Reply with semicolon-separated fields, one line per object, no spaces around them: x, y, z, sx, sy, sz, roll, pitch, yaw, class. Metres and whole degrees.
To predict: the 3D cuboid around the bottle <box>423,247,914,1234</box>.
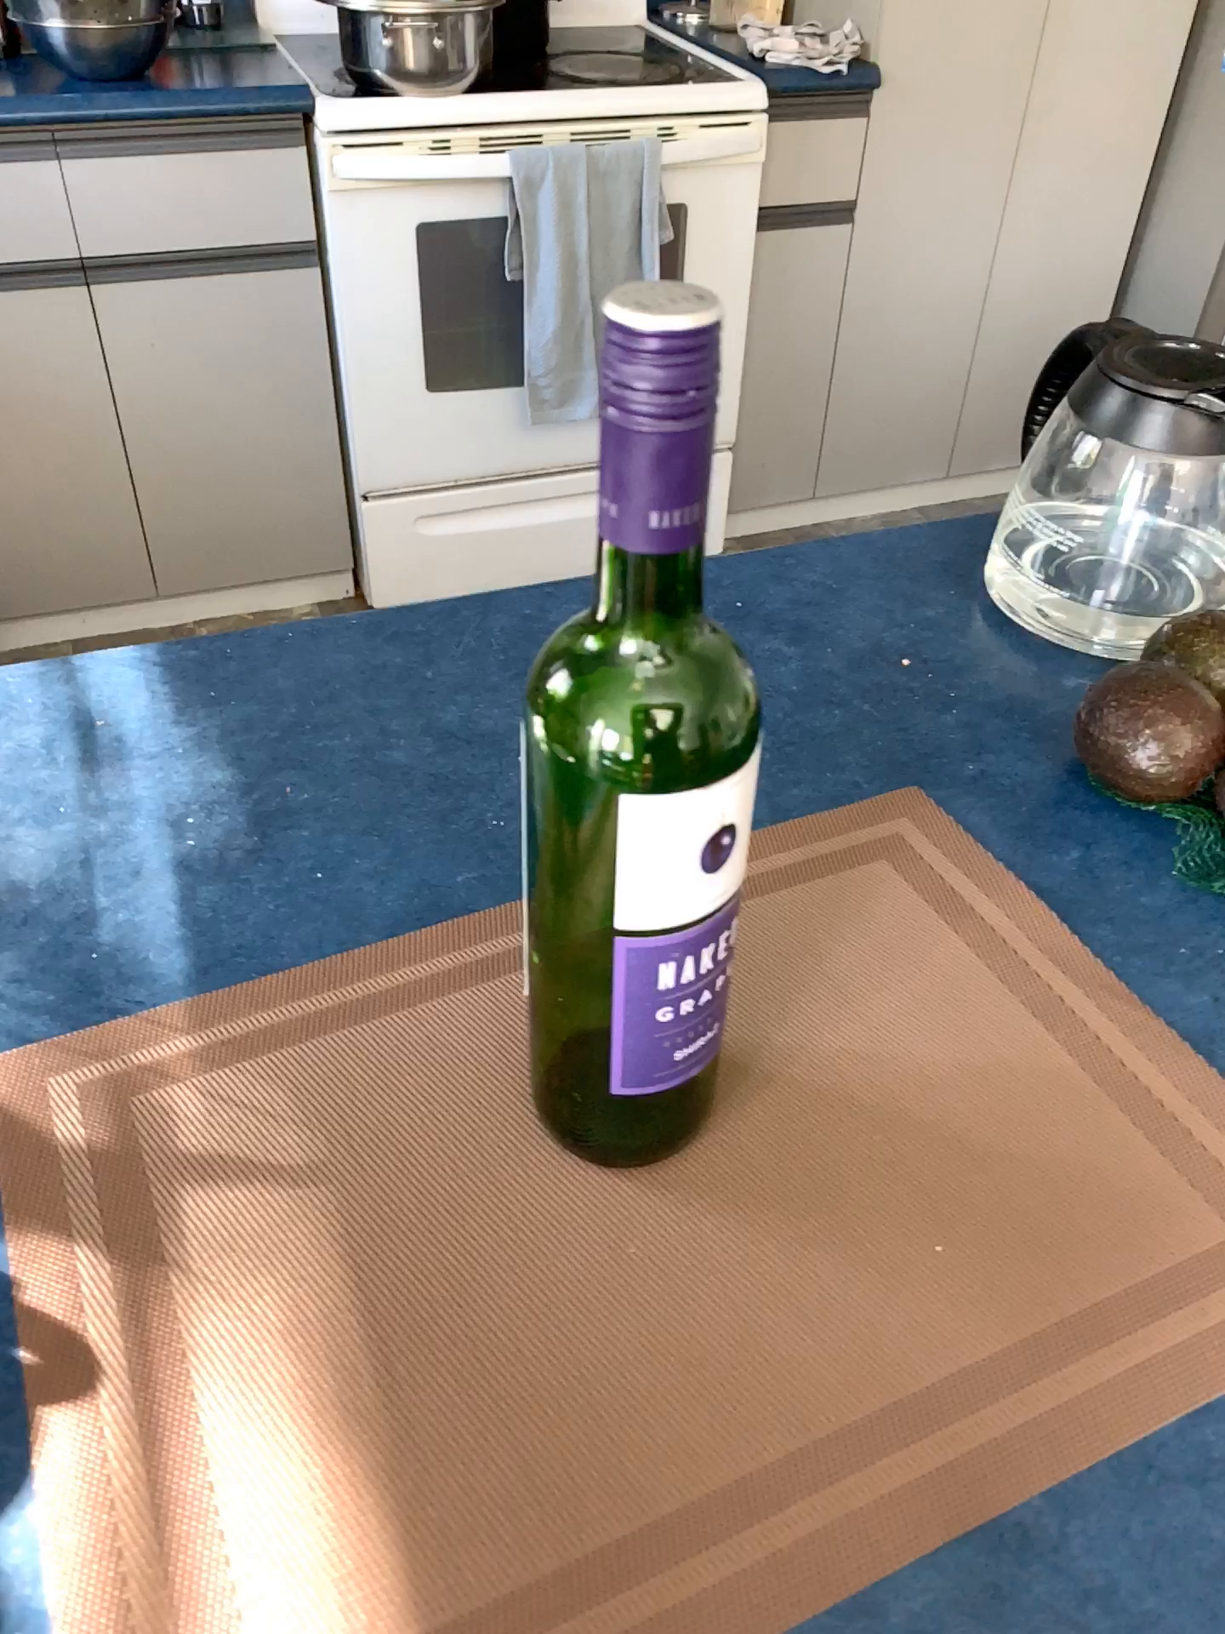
0.009;-0.004;0.380;0.080;0.287;0.080;1;40;-1;bottle
